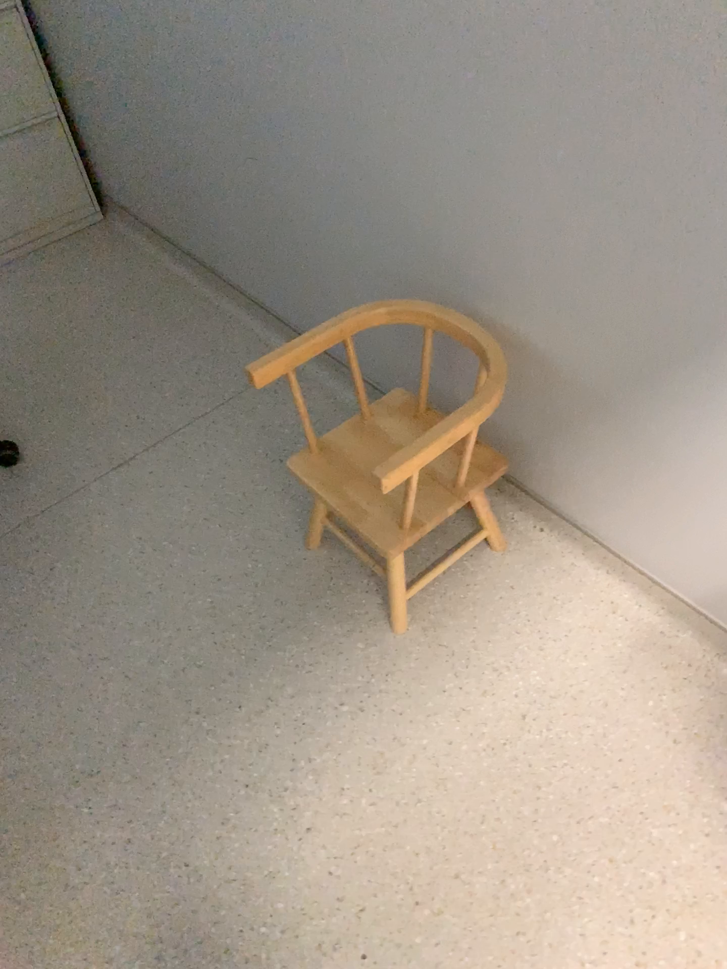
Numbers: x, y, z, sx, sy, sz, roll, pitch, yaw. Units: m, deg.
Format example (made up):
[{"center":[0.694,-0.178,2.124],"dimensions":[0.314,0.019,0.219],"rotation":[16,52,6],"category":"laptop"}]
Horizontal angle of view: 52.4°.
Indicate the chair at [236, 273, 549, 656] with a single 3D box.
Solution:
[{"center":[0.063,-0.032,1.338],"dimensions":[0.343,0.481,0.364],"rotation":[-33,52,-20],"category":"chair"}]
